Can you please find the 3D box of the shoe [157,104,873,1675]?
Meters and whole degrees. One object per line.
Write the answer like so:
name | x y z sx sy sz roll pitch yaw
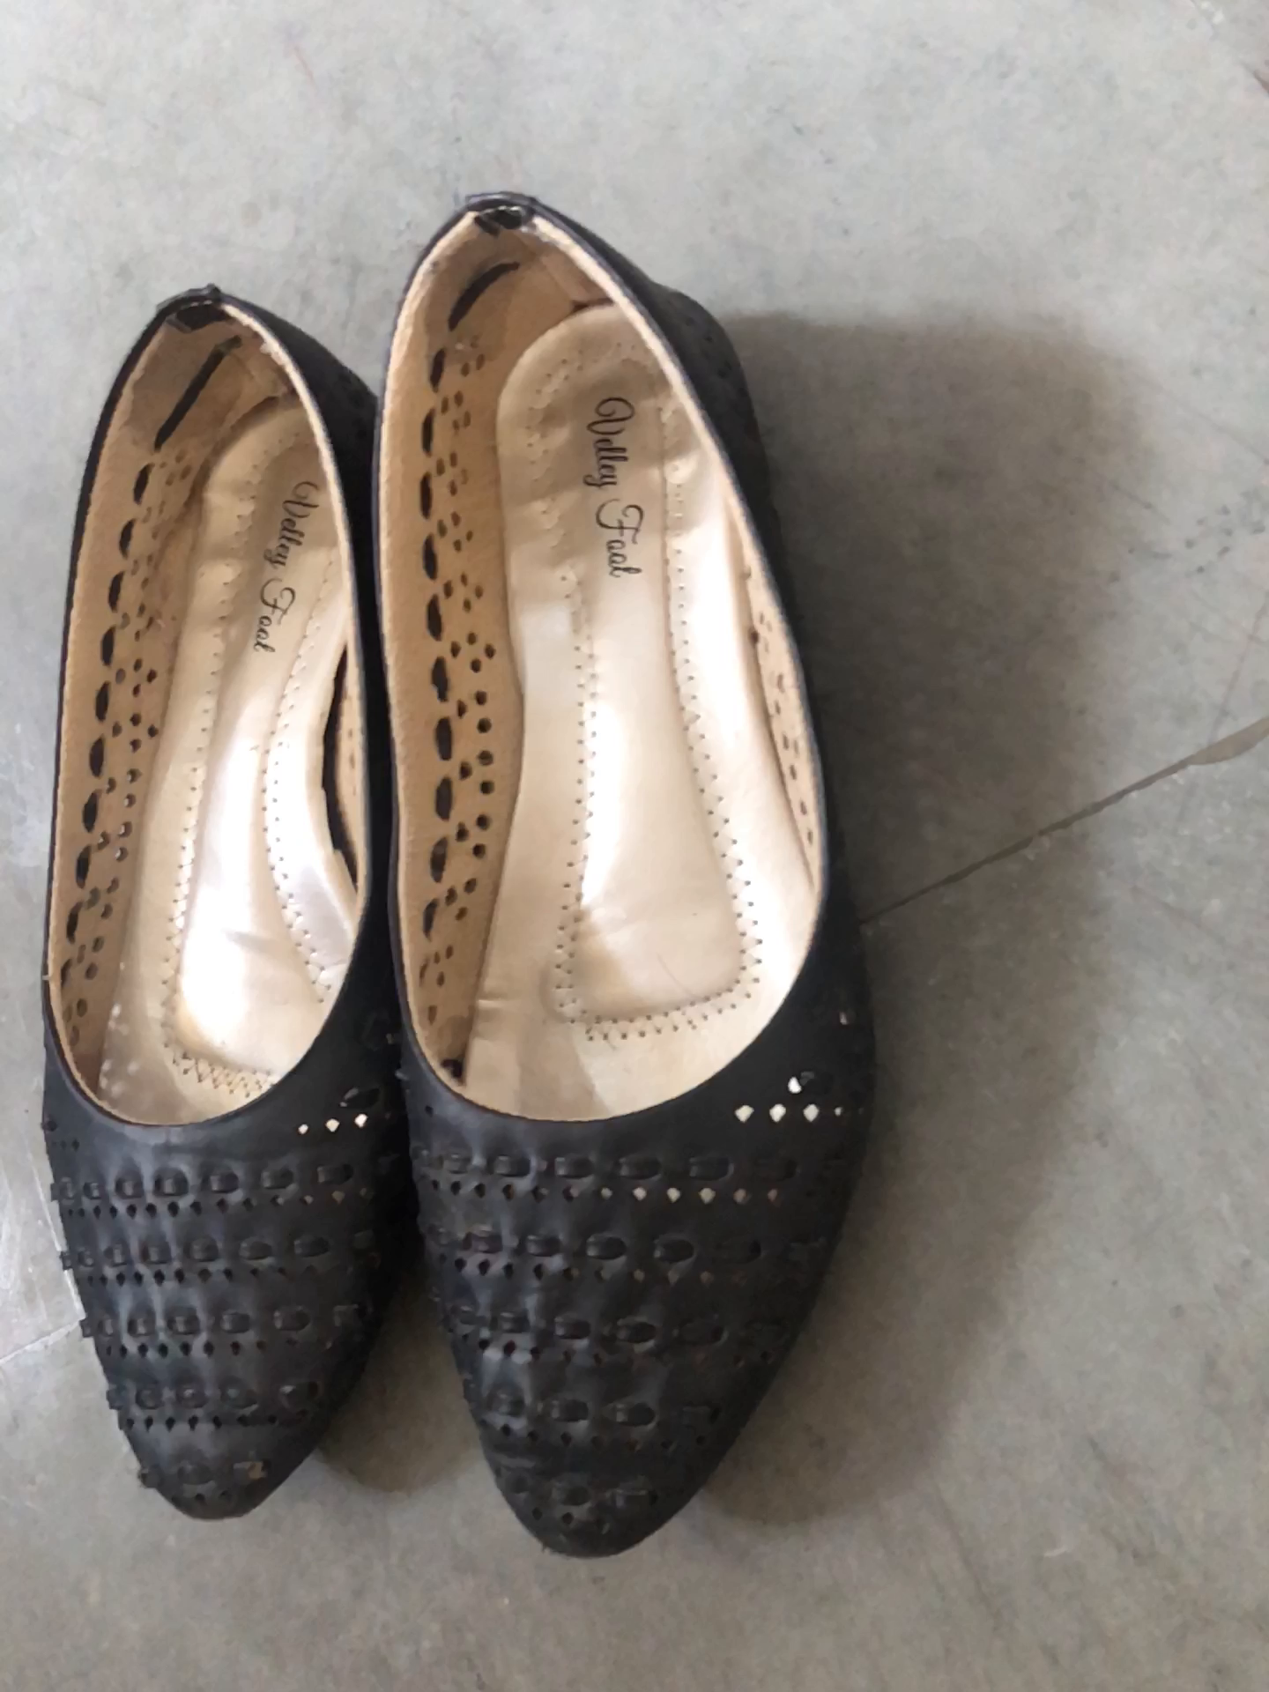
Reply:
shoe | -0.021 0.004 0.263 0.096 0.073 0.242 -8 75 21

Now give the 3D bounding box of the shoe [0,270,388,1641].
shoe | -0.114 0.017 0.293 0.096 0.062 0.242 -5 76 22
